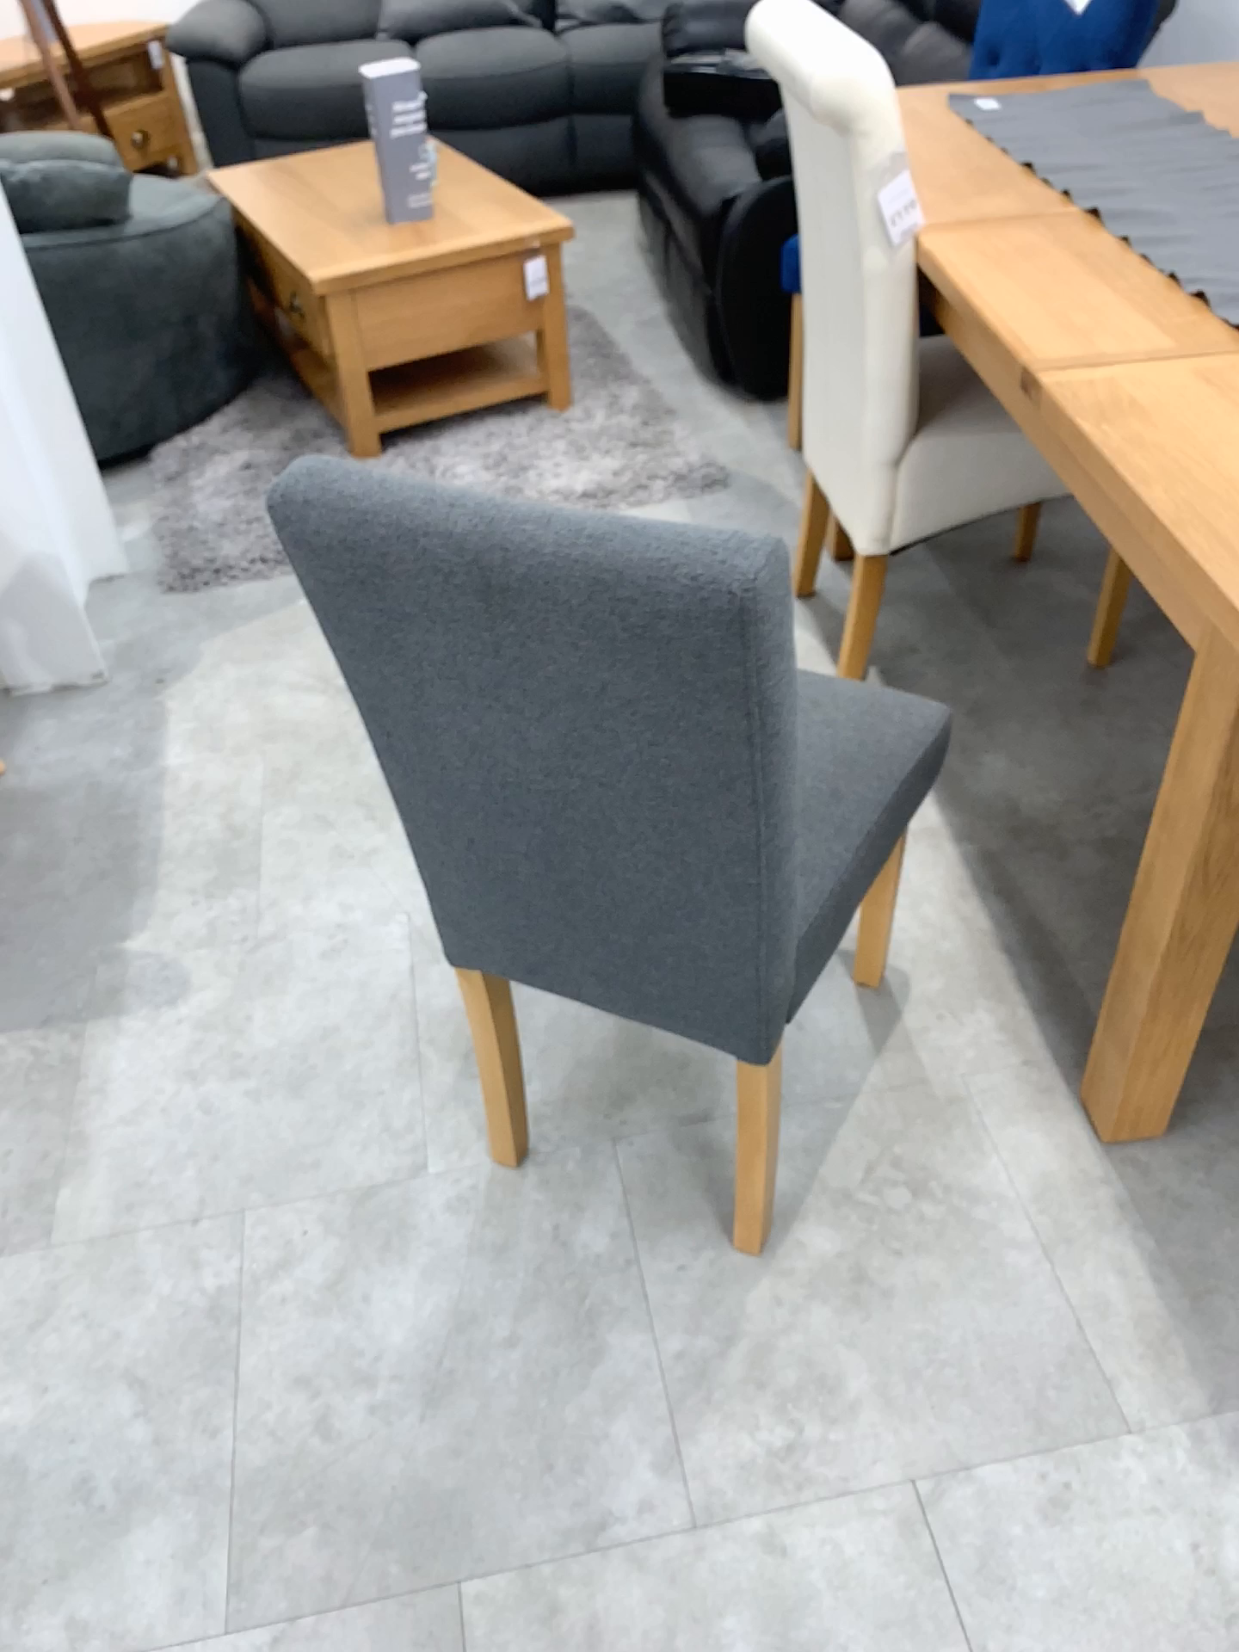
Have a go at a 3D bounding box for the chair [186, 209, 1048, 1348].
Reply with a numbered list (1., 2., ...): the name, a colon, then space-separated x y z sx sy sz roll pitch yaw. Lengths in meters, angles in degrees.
1. chair: 0.067 -0.055 1.263 0.445 0.830 0.647 15 45 20

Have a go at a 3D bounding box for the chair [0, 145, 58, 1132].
1. chair: -1.131 -0.226 1.495 0.582 0.830 0.670 -12 42 -8
